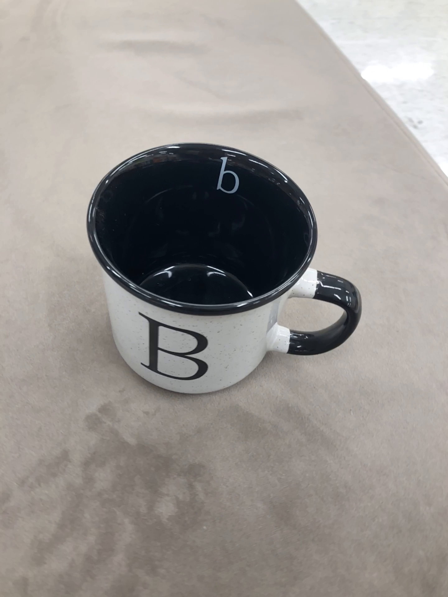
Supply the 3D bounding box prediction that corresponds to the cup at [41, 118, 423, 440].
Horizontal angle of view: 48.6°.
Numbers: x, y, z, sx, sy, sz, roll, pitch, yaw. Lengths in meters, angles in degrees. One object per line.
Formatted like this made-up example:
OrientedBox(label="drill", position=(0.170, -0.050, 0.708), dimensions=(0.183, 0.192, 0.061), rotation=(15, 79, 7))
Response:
OrientedBox(label="cup", position=(0.008, -0.009, 0.255), dimensions=(0.150, 0.089, 0.101), rotation=(13, 54, 3))
